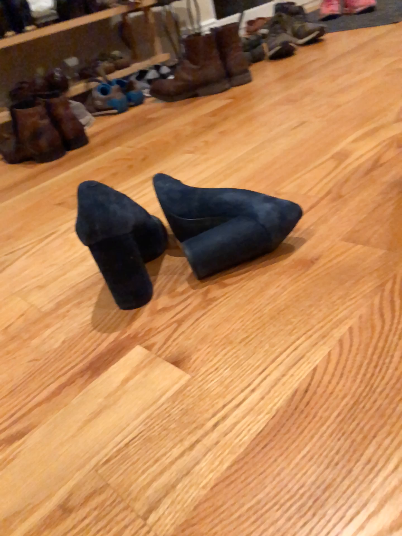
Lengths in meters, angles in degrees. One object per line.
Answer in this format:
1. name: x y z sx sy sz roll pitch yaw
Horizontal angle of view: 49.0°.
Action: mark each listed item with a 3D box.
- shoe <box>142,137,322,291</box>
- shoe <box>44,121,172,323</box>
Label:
1. shoe: 0.027 -0.081 0.554 0.152 0.080 0.205 -21 31 -7
2. shoe: -0.095 -0.069 0.536 0.080 0.146 0.227 -14 31 4
